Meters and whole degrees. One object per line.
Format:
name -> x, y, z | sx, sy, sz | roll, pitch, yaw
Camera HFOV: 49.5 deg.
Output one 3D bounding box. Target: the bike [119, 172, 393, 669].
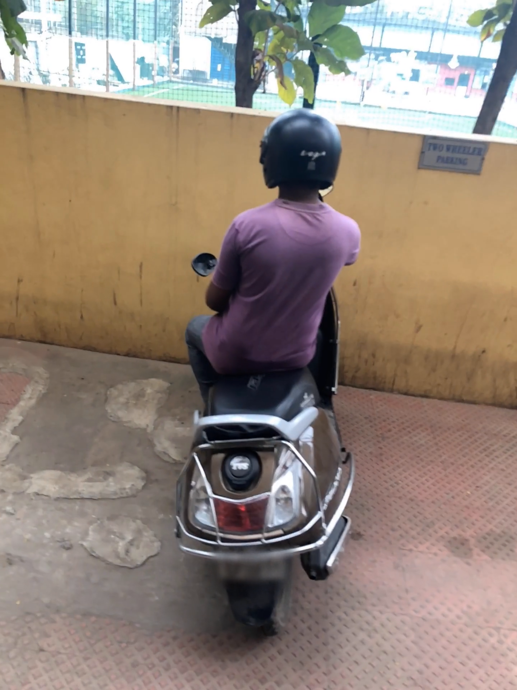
bike -> -0.081, 0.087, 2.341 | 0.643, 1.183, 1.723 | 5, 27, -3
